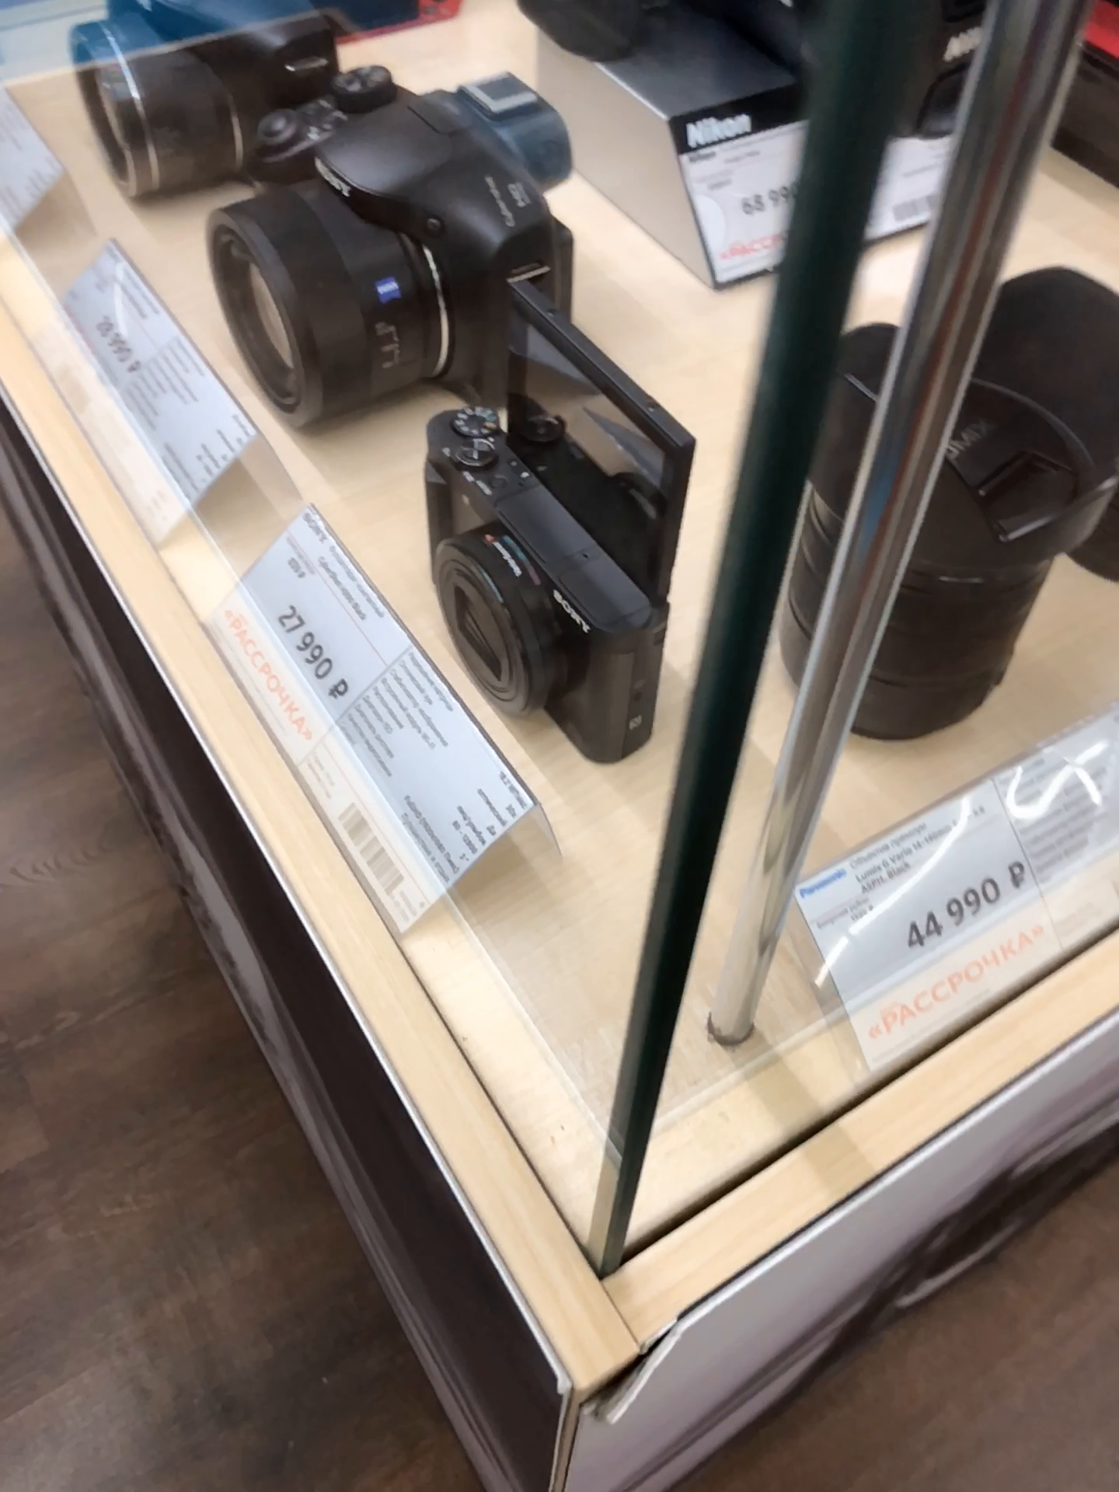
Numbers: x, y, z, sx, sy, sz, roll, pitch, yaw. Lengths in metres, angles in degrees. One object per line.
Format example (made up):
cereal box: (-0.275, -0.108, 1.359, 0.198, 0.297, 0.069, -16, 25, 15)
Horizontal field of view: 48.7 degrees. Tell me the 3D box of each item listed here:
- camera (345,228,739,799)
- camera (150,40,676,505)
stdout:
camera: (-0.008, -0.062, 0.339, 0.050, 0.107, 0.100, -25, 57, -20)
camera: (-0.054, -0.181, 0.460, 0.136, 0.078, 0.133, -26, 57, -20)
